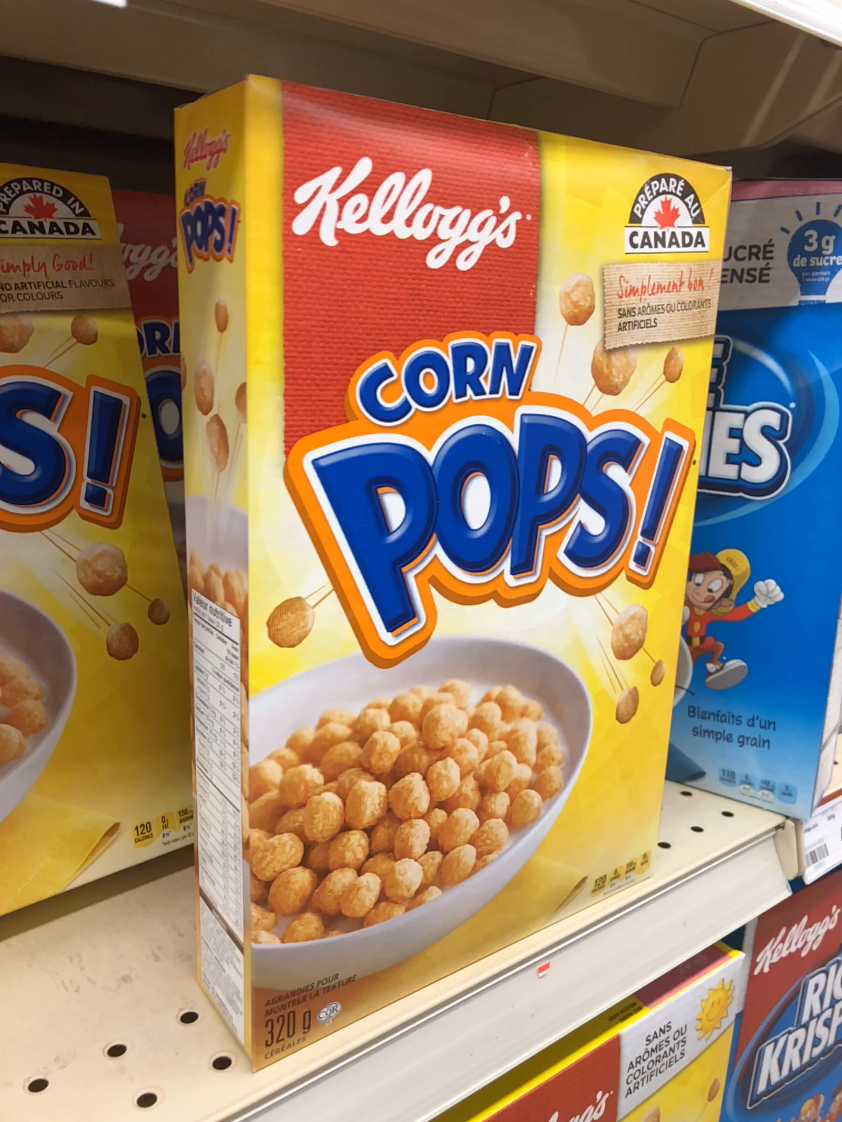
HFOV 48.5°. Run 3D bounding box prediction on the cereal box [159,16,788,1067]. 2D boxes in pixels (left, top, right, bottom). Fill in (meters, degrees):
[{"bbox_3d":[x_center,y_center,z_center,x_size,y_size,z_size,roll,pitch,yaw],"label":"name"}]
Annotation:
[{"bbox_3d":[0.023,-0.005,0.334,0.210,0.289,0.060,-8,18,-36],"label":"cereal box"}]
